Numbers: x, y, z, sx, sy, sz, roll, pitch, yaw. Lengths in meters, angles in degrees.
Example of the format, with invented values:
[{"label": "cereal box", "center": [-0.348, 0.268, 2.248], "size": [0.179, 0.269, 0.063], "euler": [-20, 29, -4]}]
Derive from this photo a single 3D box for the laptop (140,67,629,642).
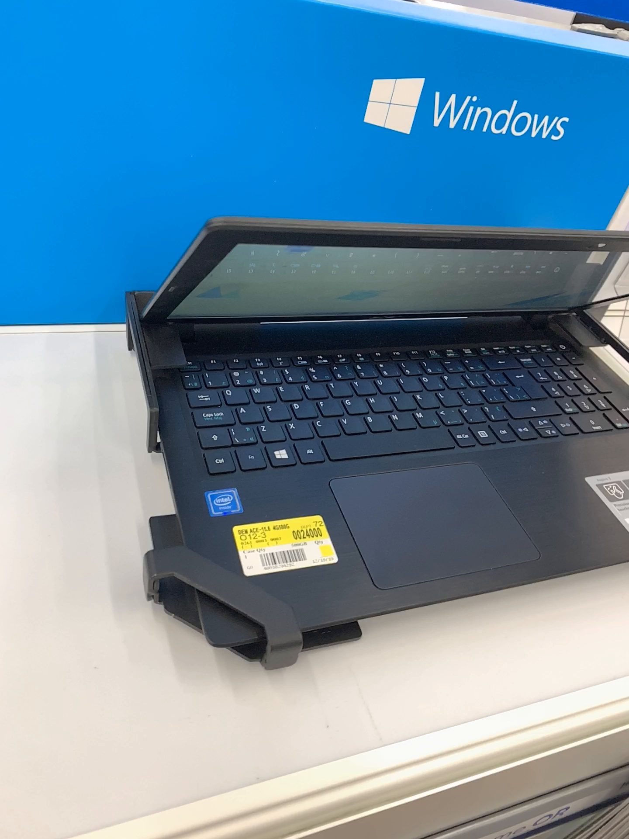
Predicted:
[{"label": "laptop", "center": [0.096, -0.056, 0.358], "size": [0.345, 0.157, 0.233], "euler": [-4, 42, -21]}]
